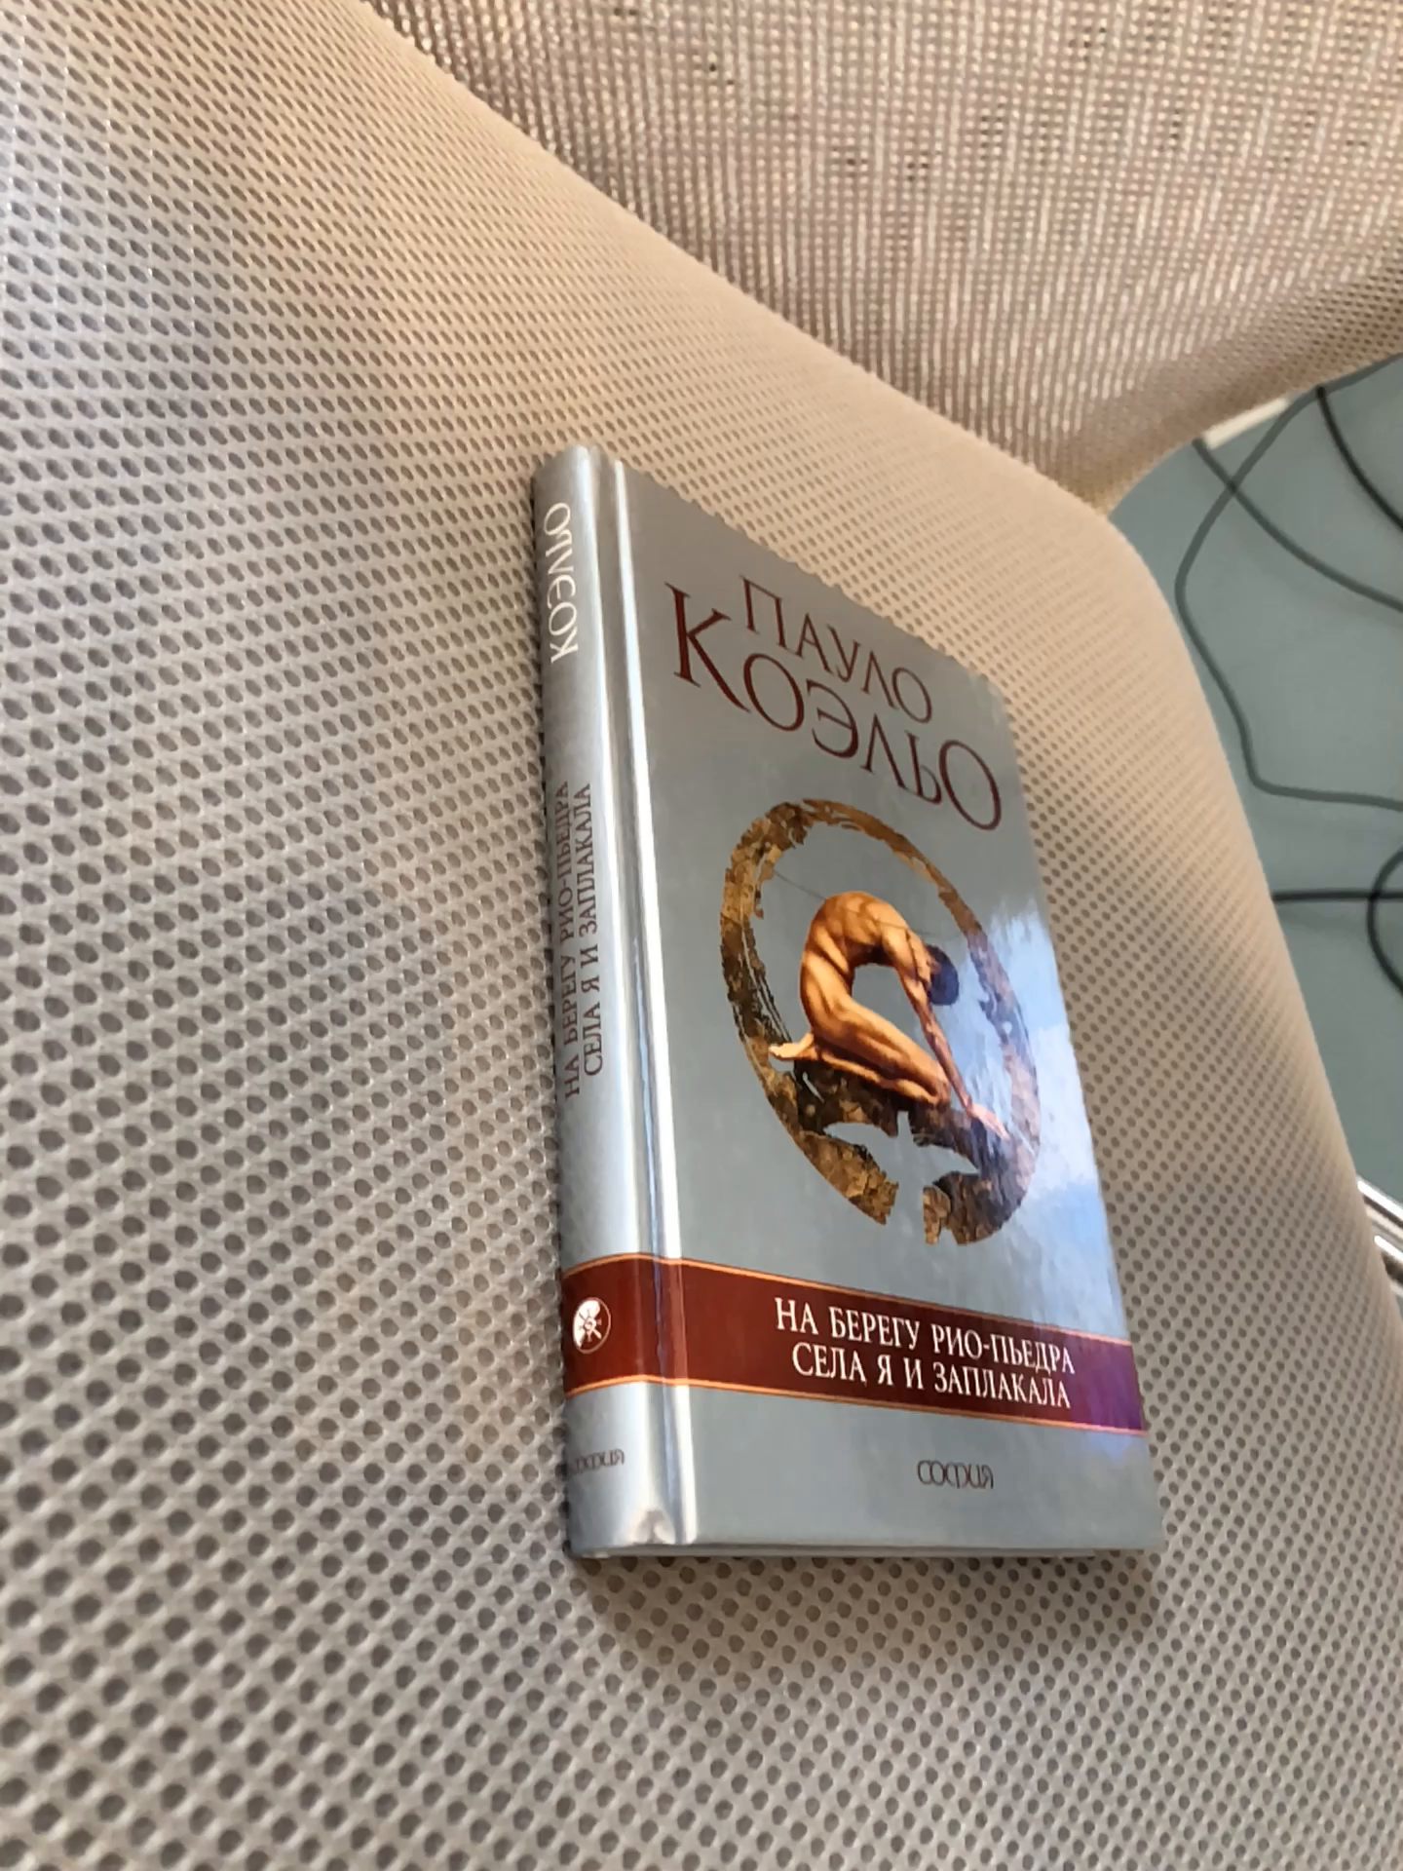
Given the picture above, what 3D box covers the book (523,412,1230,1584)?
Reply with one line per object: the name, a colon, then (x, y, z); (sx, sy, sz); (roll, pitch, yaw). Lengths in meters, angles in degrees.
book: (0.029, 0.014, 0.262); (0.131, 0.020, 0.174); (21, 55, -40)
